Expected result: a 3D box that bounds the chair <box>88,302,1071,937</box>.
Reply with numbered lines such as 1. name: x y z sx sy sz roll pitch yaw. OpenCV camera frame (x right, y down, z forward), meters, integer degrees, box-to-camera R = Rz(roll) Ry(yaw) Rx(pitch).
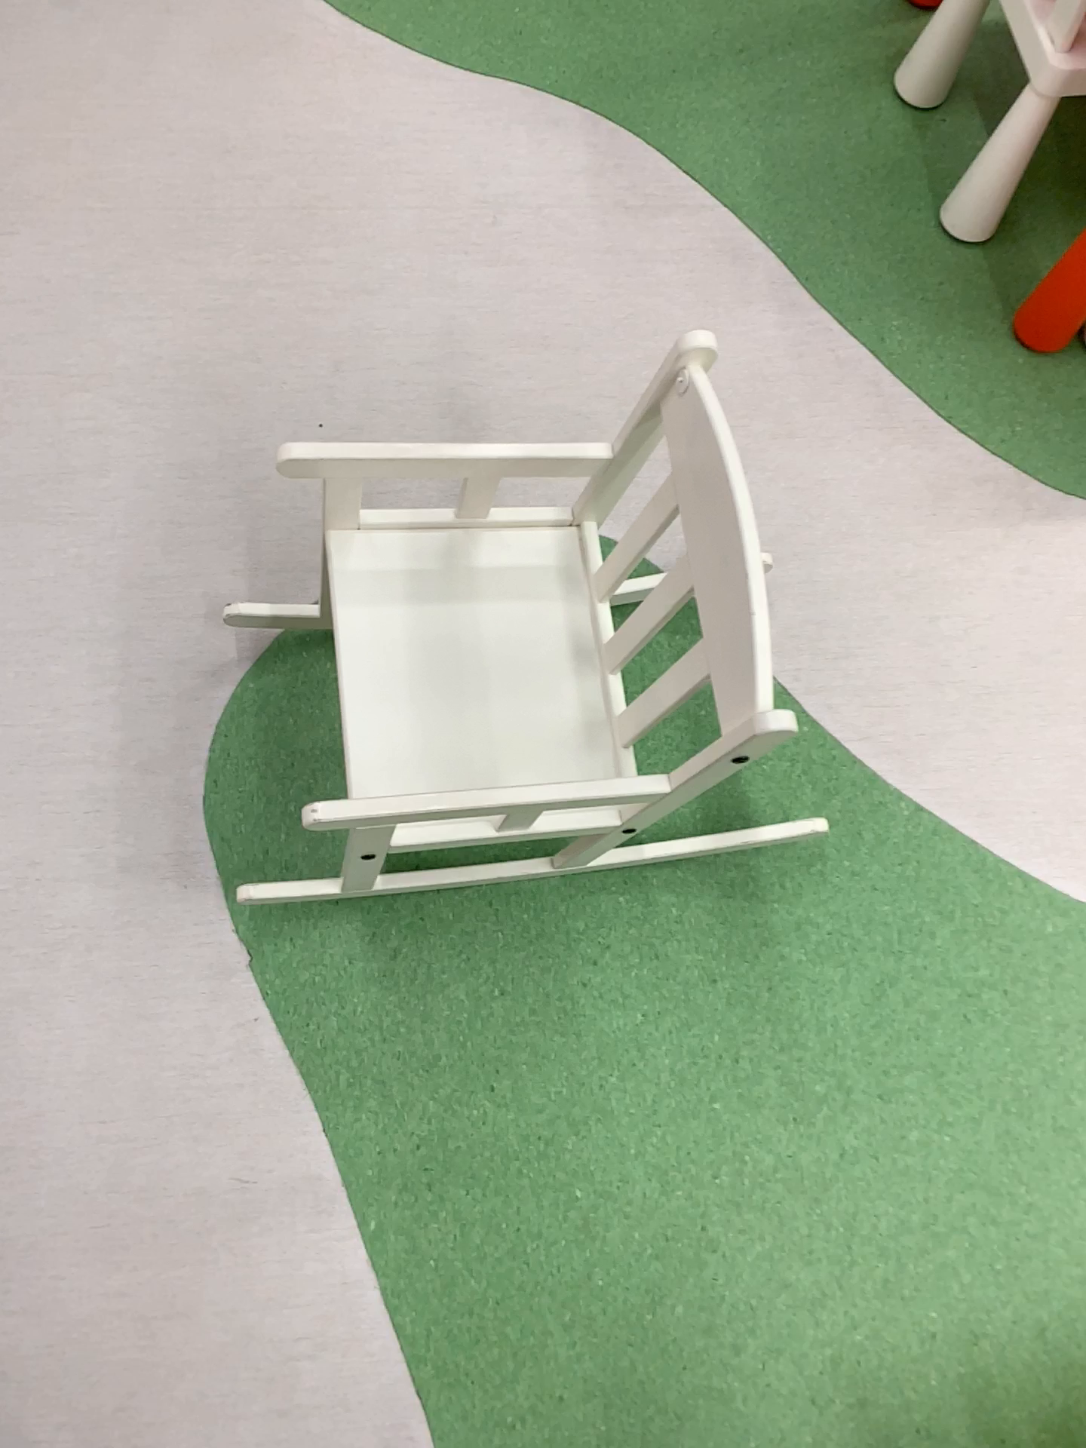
1. chair: 0.004 -0.064 1.110 0.730 0.500 0.410 -5 72 -5
